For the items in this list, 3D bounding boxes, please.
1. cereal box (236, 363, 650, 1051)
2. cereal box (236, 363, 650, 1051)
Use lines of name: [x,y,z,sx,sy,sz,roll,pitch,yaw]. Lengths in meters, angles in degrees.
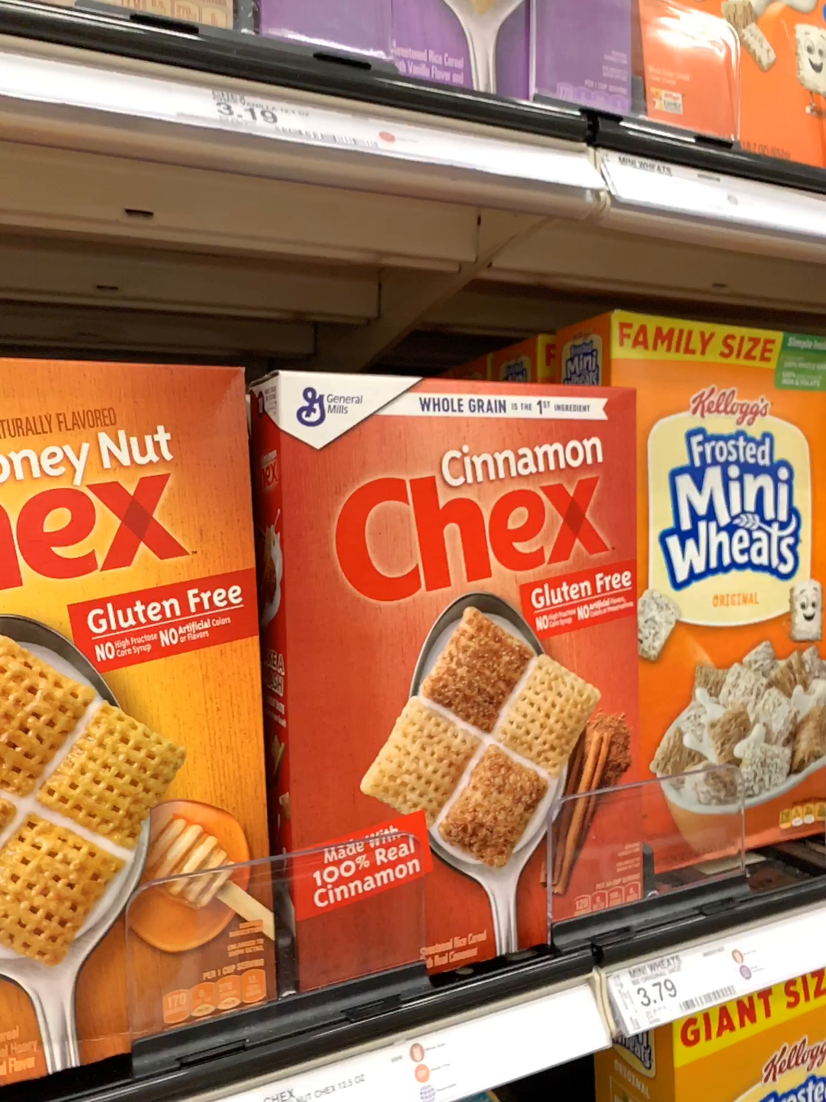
cereal box: [0.020,0.064,0.441,0.200,0.300,0.060,-2,2,-25]
cereal box: [0.020,0.064,0.441,0.200,0.300,0.060,-2,2,-25]
